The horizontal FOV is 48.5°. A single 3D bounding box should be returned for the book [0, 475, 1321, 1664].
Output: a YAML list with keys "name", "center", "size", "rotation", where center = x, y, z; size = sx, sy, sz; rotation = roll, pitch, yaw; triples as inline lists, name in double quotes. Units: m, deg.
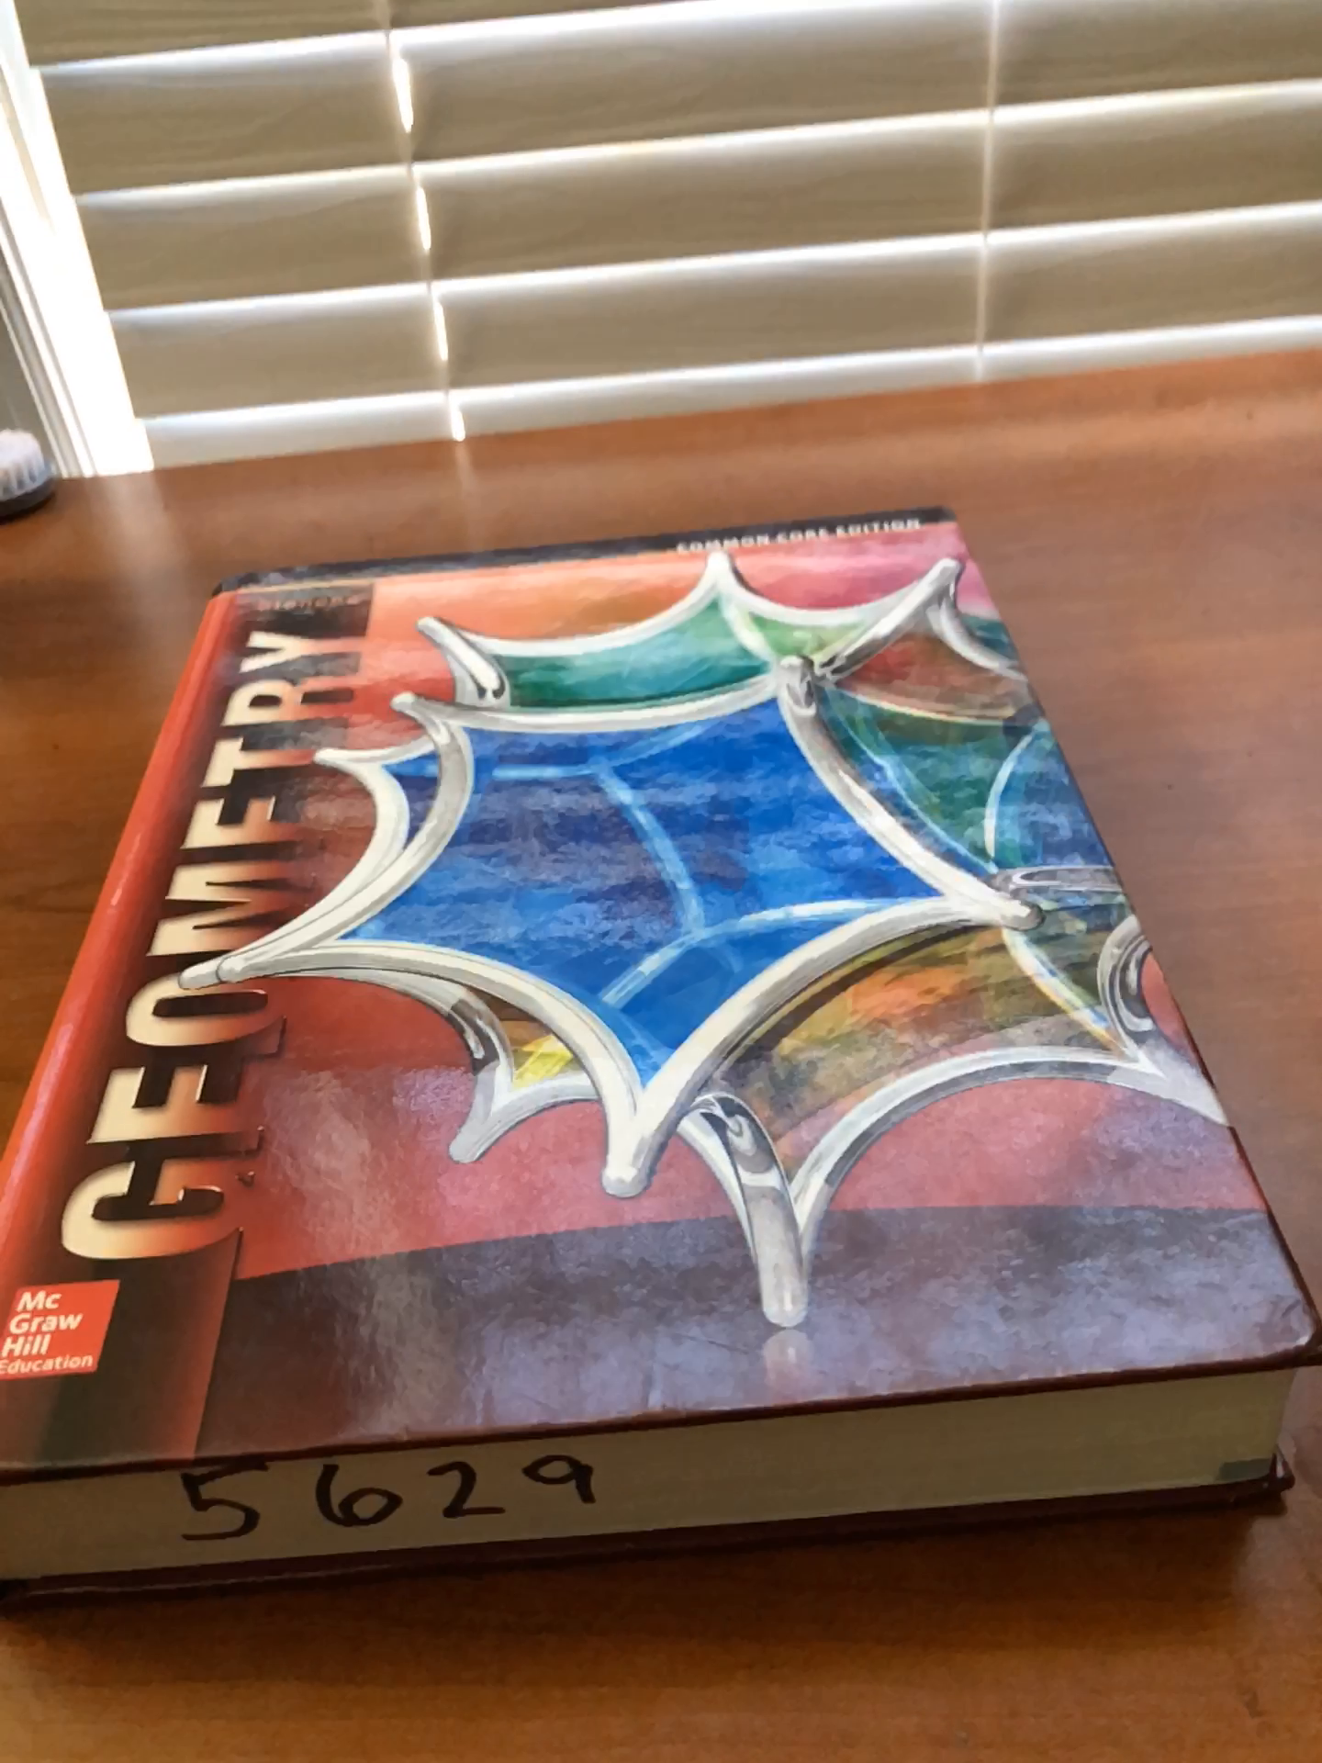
- name: "book"
  center: [-0.014, 0.003, 0.348]
  size: [0.229, 0.050, 0.312]
  rotation: [-5, 39, 1]
